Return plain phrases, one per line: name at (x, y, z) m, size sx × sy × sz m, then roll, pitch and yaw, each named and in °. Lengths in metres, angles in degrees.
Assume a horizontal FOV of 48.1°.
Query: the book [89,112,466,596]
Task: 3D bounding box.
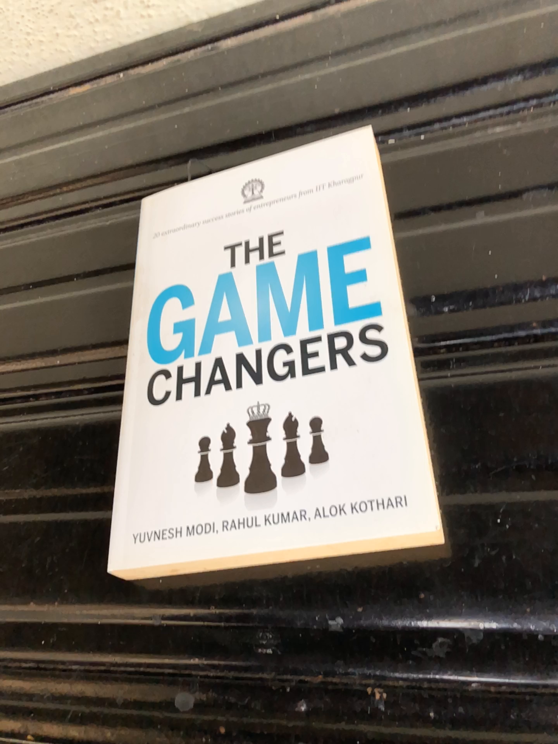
book at (-0.006, -0.016, 0.287) m, size 0.140 × 0.030 × 0.210 m, roll -12°, pitch 59°, yaw 17°
